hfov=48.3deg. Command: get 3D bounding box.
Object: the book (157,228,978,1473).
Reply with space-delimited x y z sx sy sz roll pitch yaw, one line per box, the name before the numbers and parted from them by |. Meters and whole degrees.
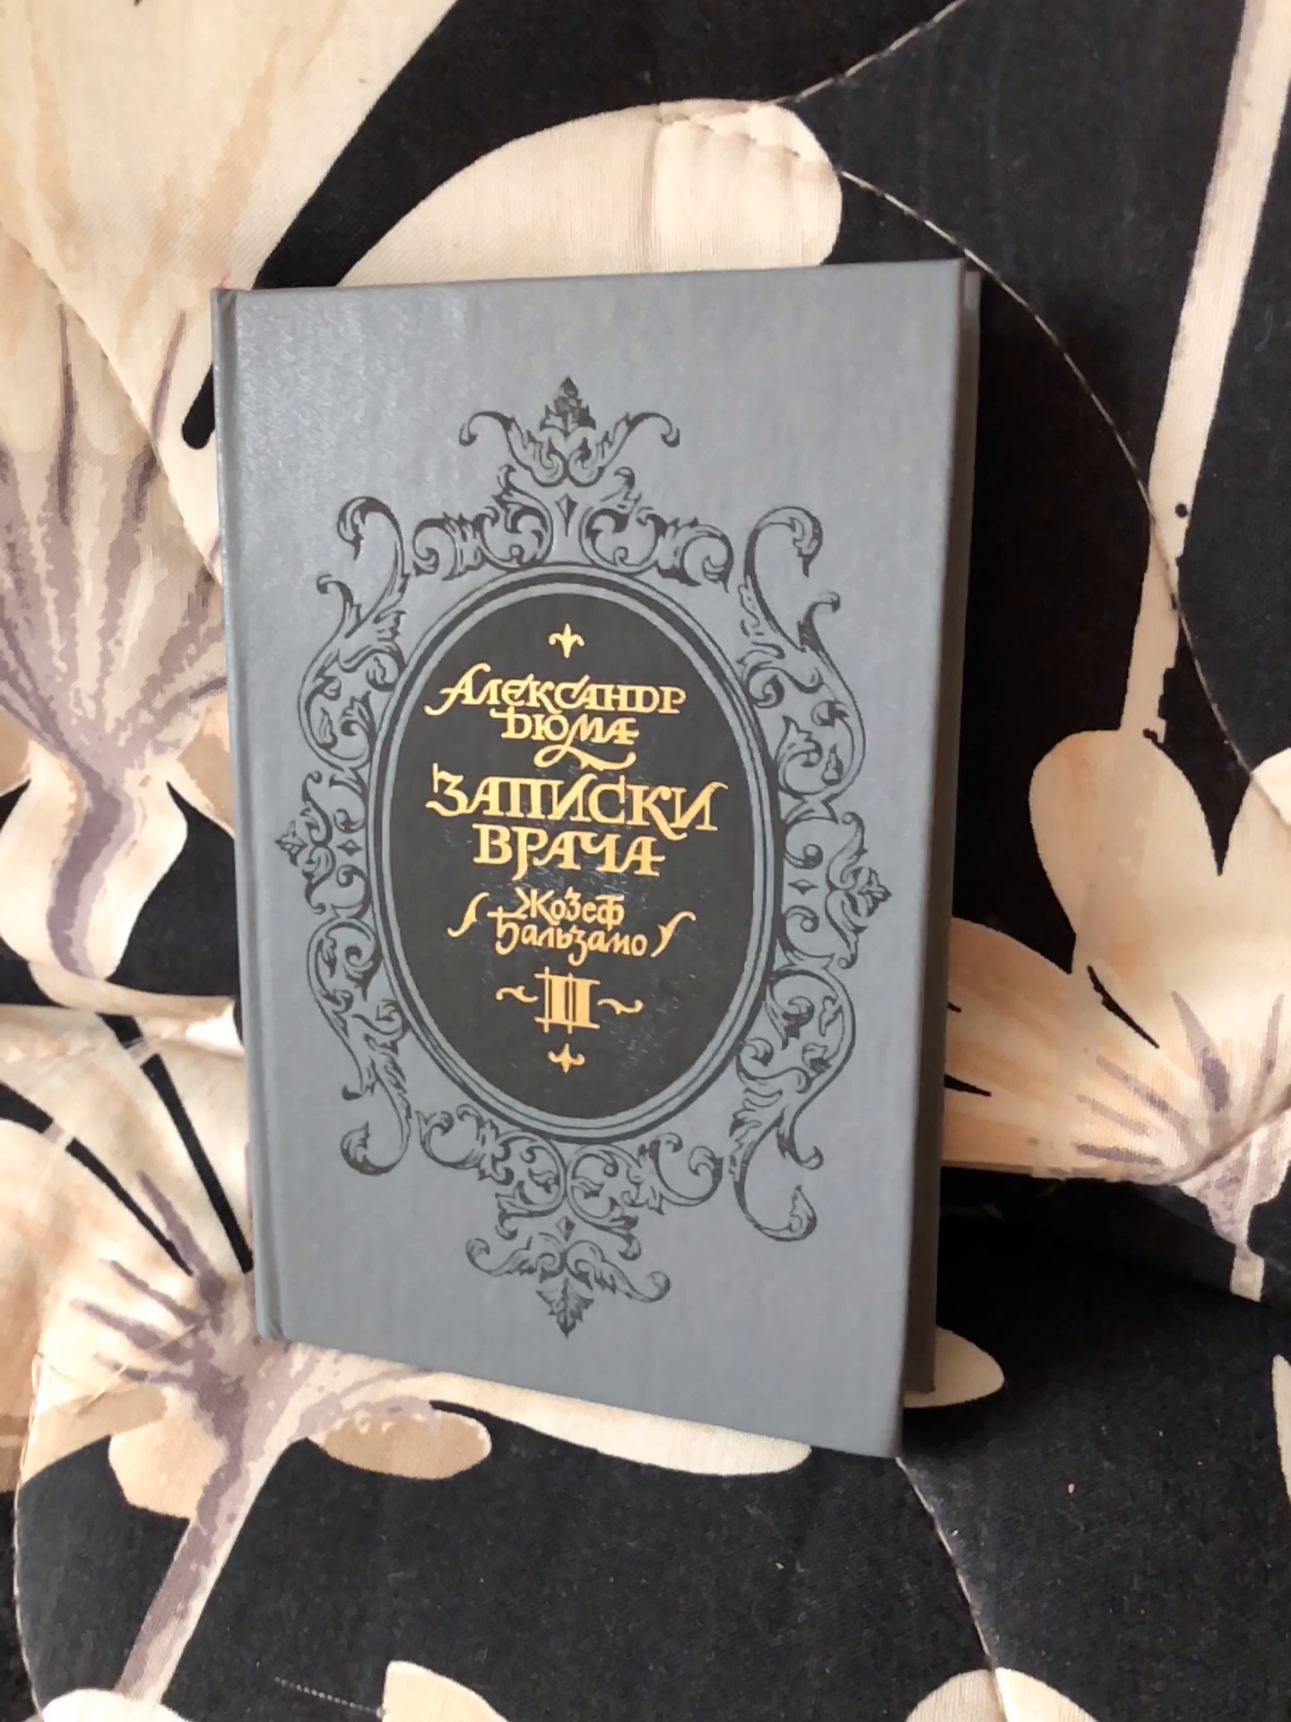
book | -0.016 -0.001 0.269 0.140 0.030 0.206 4 102 18
